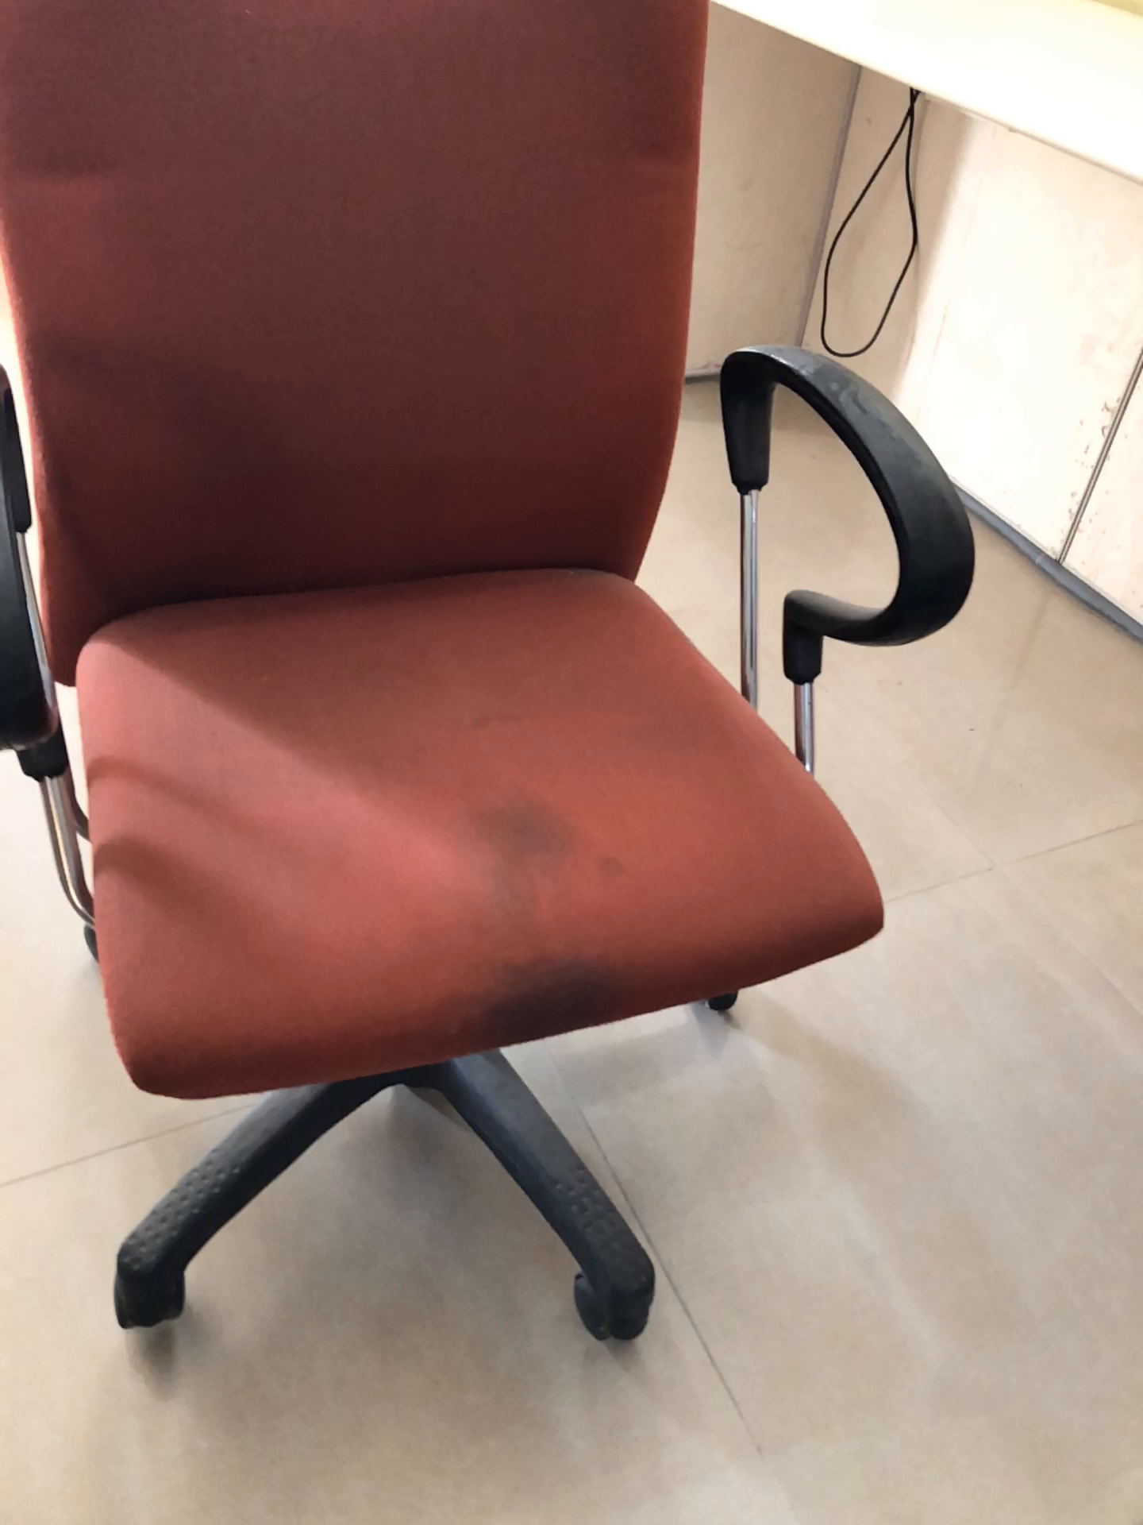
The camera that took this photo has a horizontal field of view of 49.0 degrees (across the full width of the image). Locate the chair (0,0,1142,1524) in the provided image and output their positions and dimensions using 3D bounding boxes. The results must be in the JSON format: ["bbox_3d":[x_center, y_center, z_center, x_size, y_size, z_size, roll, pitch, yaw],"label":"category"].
[{"bbox_3d":[-0.116,-0.043,0.962,0.771,1.042,0.704,-8,42,-17],"label":"chair"}]
